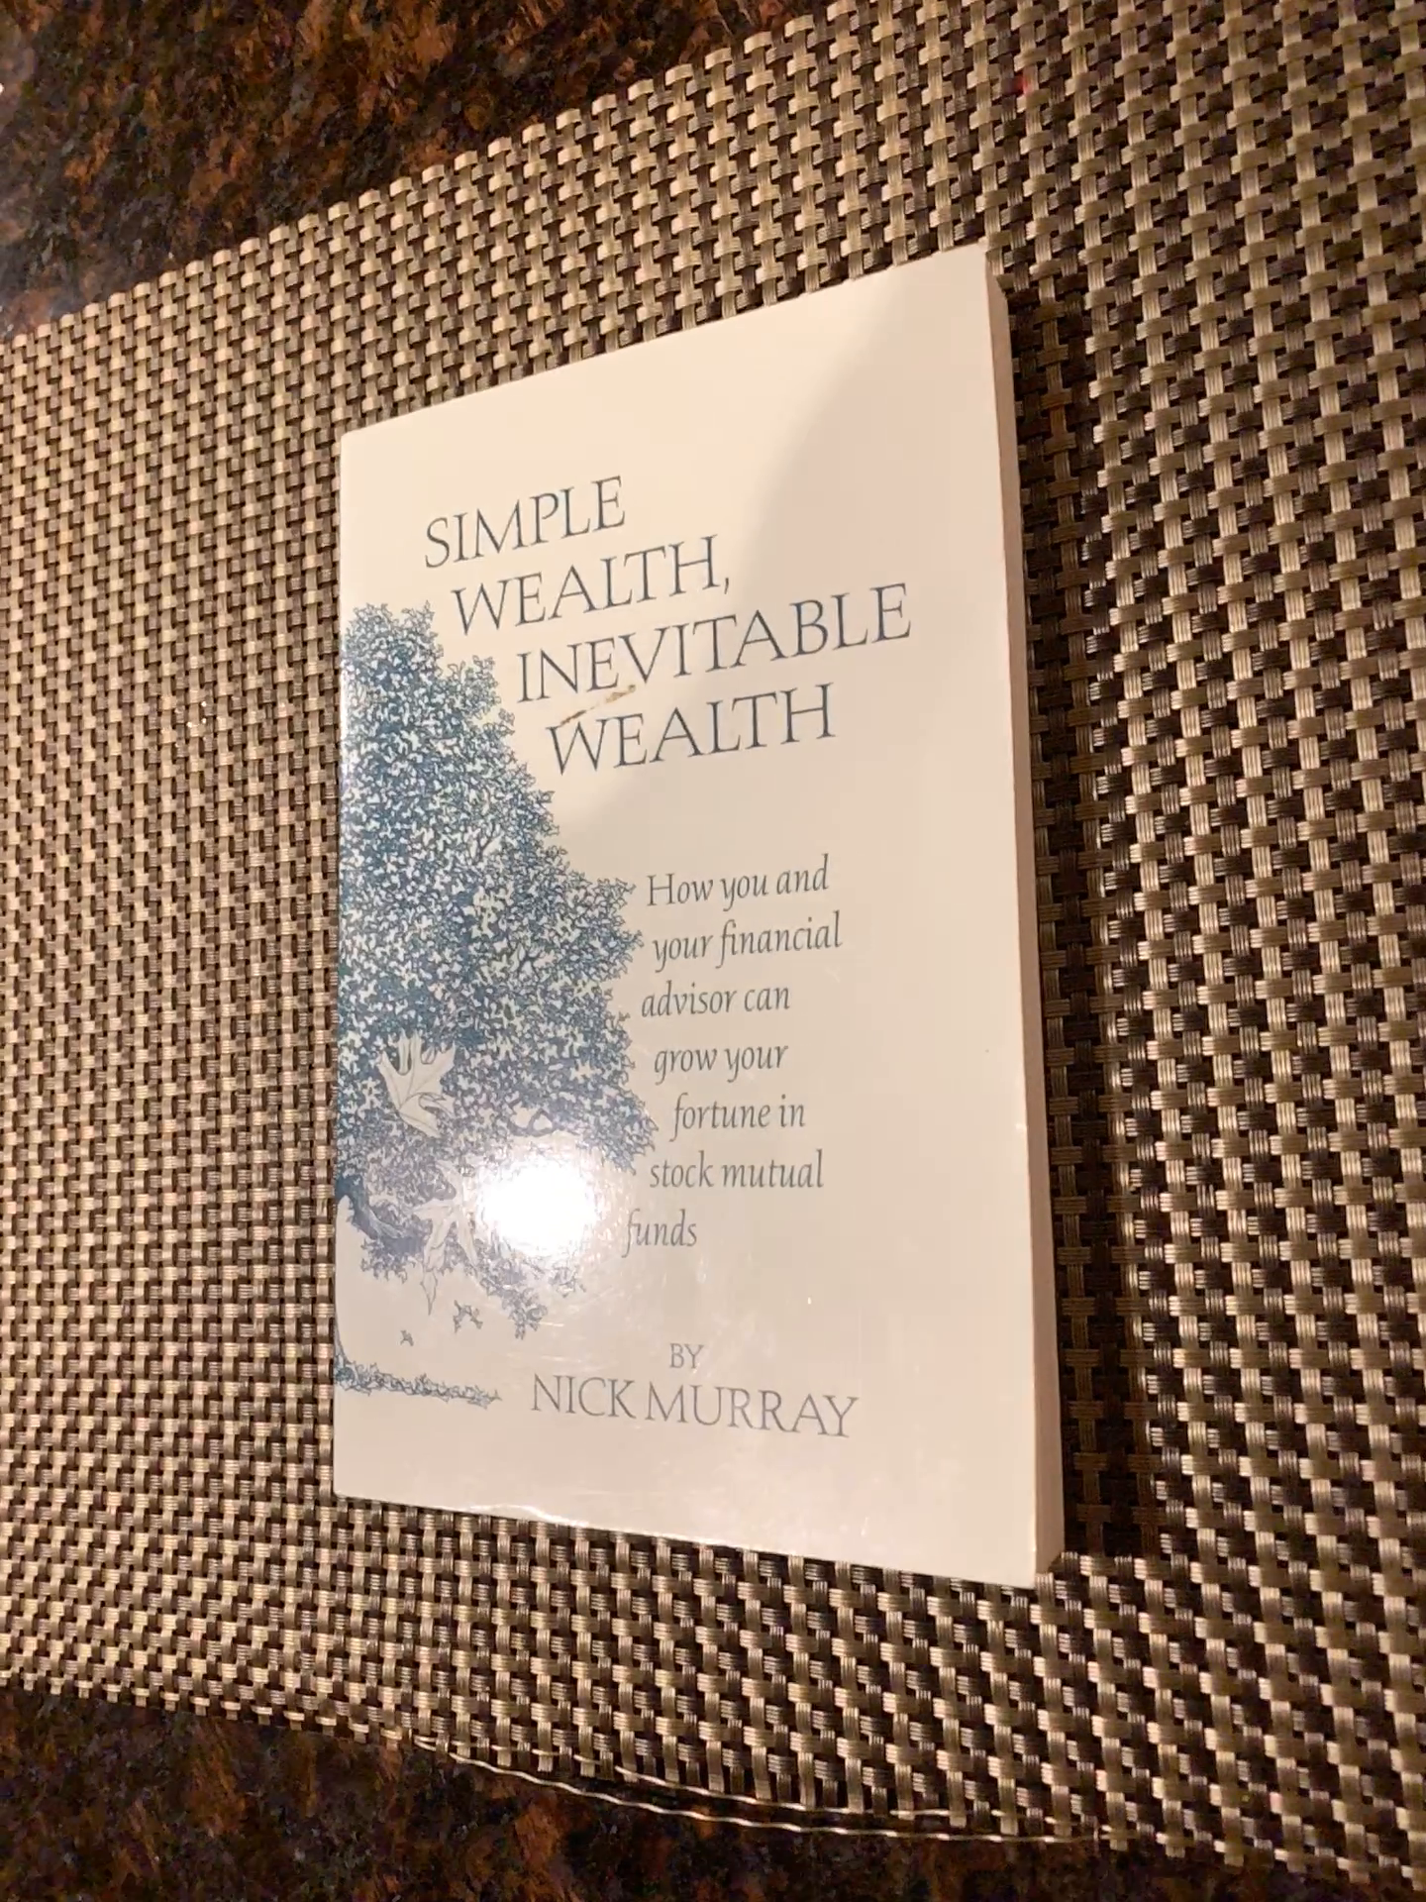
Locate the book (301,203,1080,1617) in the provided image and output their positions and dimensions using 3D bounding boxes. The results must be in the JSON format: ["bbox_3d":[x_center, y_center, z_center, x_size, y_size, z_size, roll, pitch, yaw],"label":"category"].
[{"bbox_3d":[-0.012,-0.006,0.260,0.141,0.021,0.210,-3,85,28],"label":"book"}]
